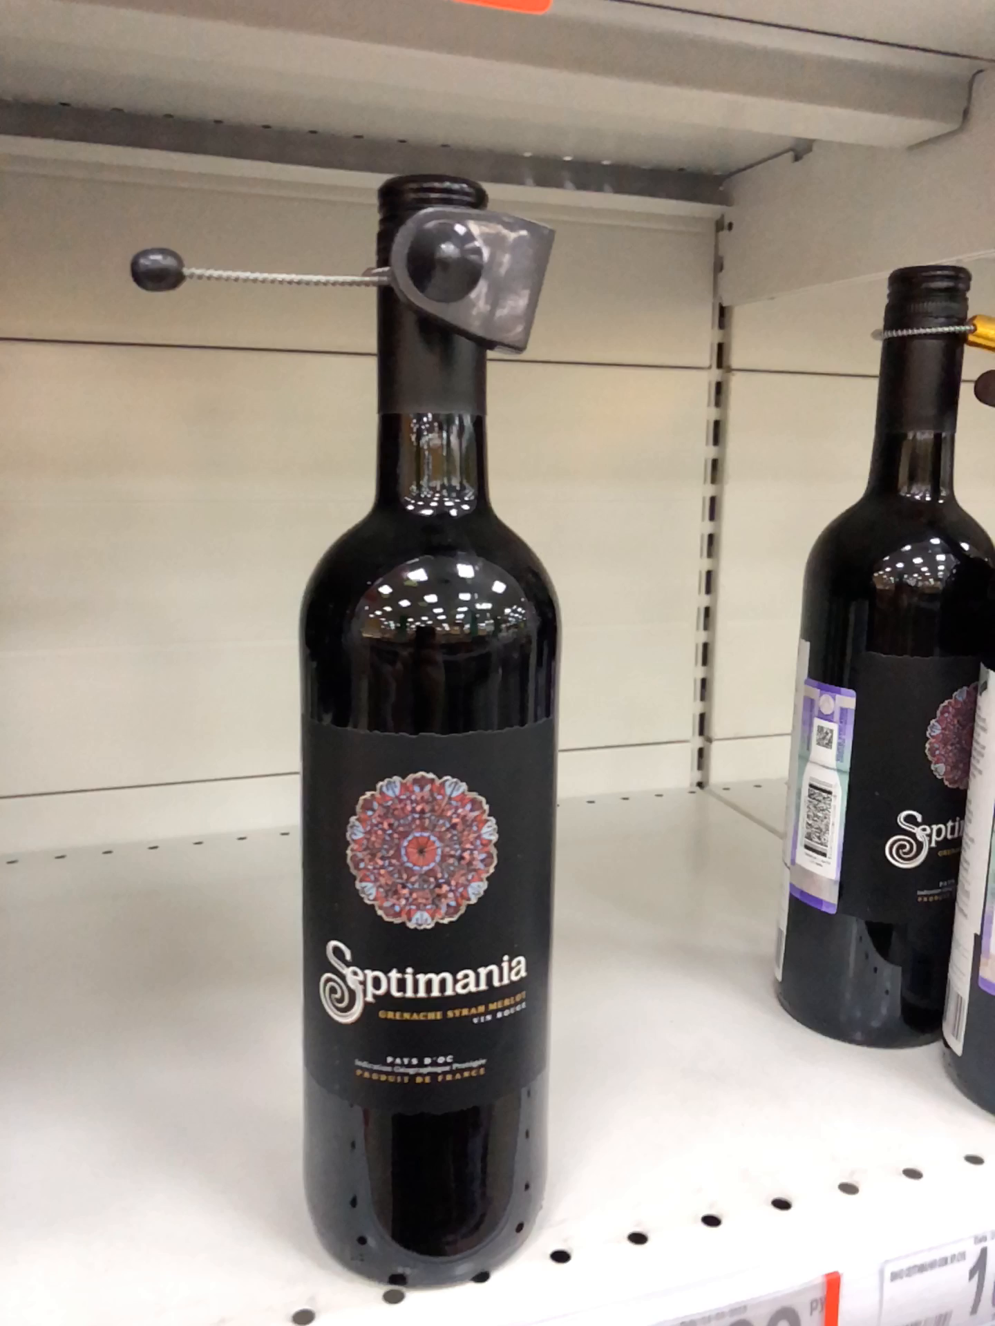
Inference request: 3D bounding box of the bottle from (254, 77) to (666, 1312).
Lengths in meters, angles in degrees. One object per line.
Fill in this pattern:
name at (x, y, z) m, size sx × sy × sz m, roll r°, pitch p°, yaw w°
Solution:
bottle at (-0.018, 0.012, 0.306) m, size 0.090 × 0.291 × 0.090 m, roll 1°, pitch 10°, yaw 0°
